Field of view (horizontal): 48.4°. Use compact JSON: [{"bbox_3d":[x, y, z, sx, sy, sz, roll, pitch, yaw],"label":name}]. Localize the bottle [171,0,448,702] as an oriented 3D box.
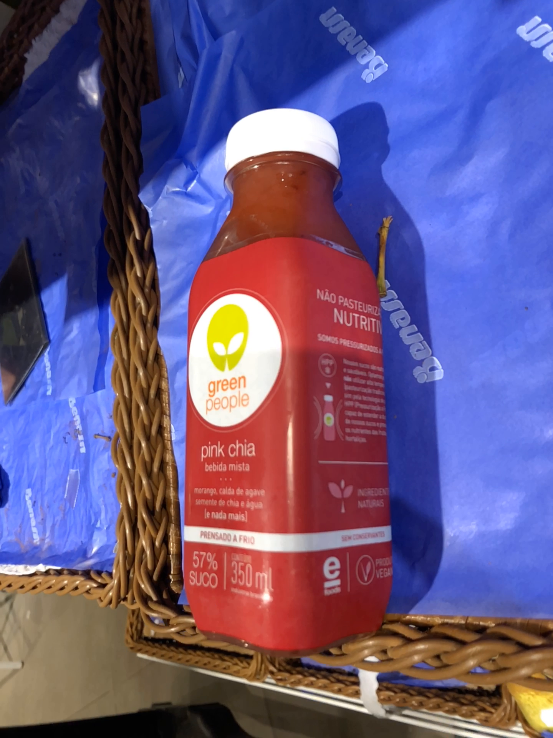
[{"bbox_3d":[0.012,-0.007,0.205,0.060,0.060,0.190,-9,76,47],"label":"bottle"}]
